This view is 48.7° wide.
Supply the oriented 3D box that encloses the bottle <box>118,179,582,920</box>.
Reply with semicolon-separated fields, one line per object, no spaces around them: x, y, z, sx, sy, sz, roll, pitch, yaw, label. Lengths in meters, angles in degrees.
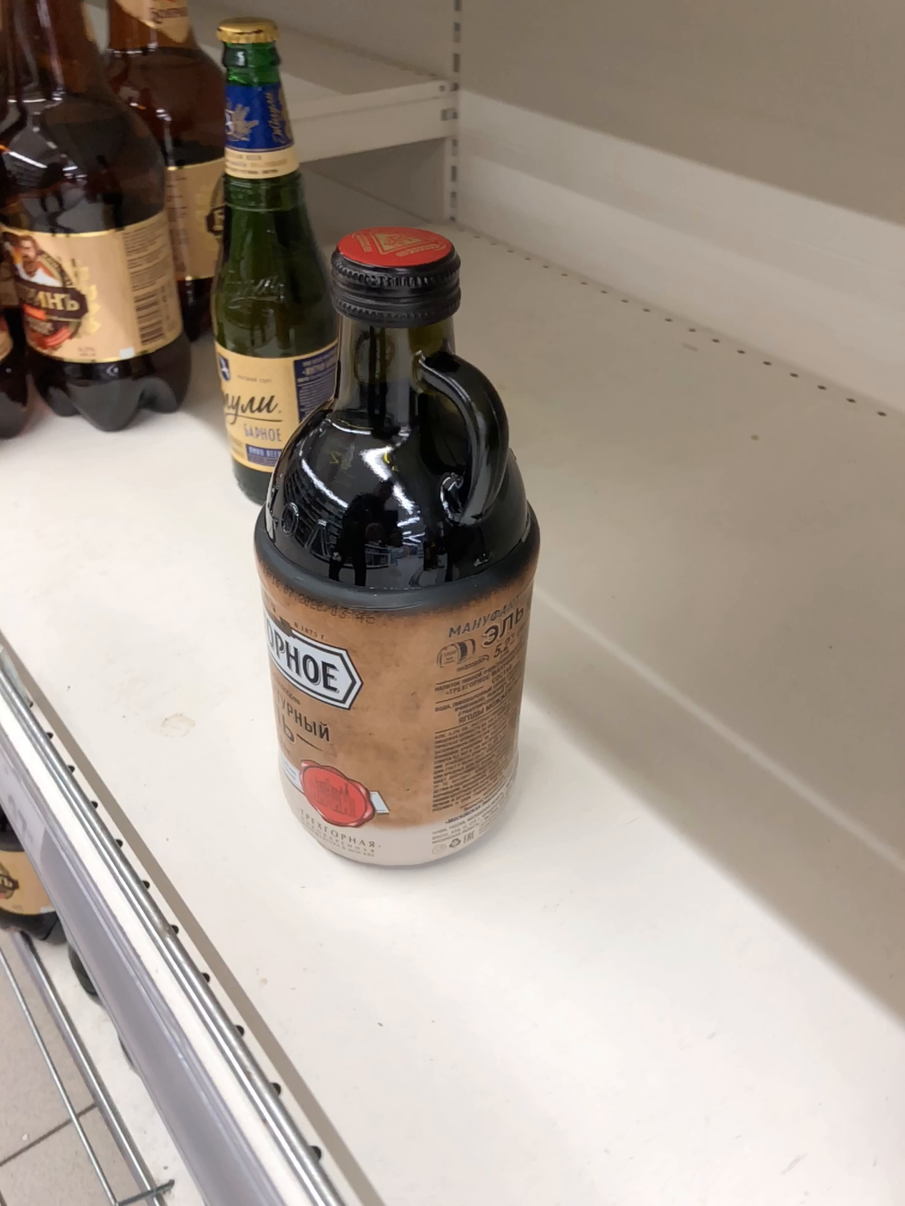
-0.037;-0.015;0.360;0.100;0.225;0.111;-16;42;-22;bottle
